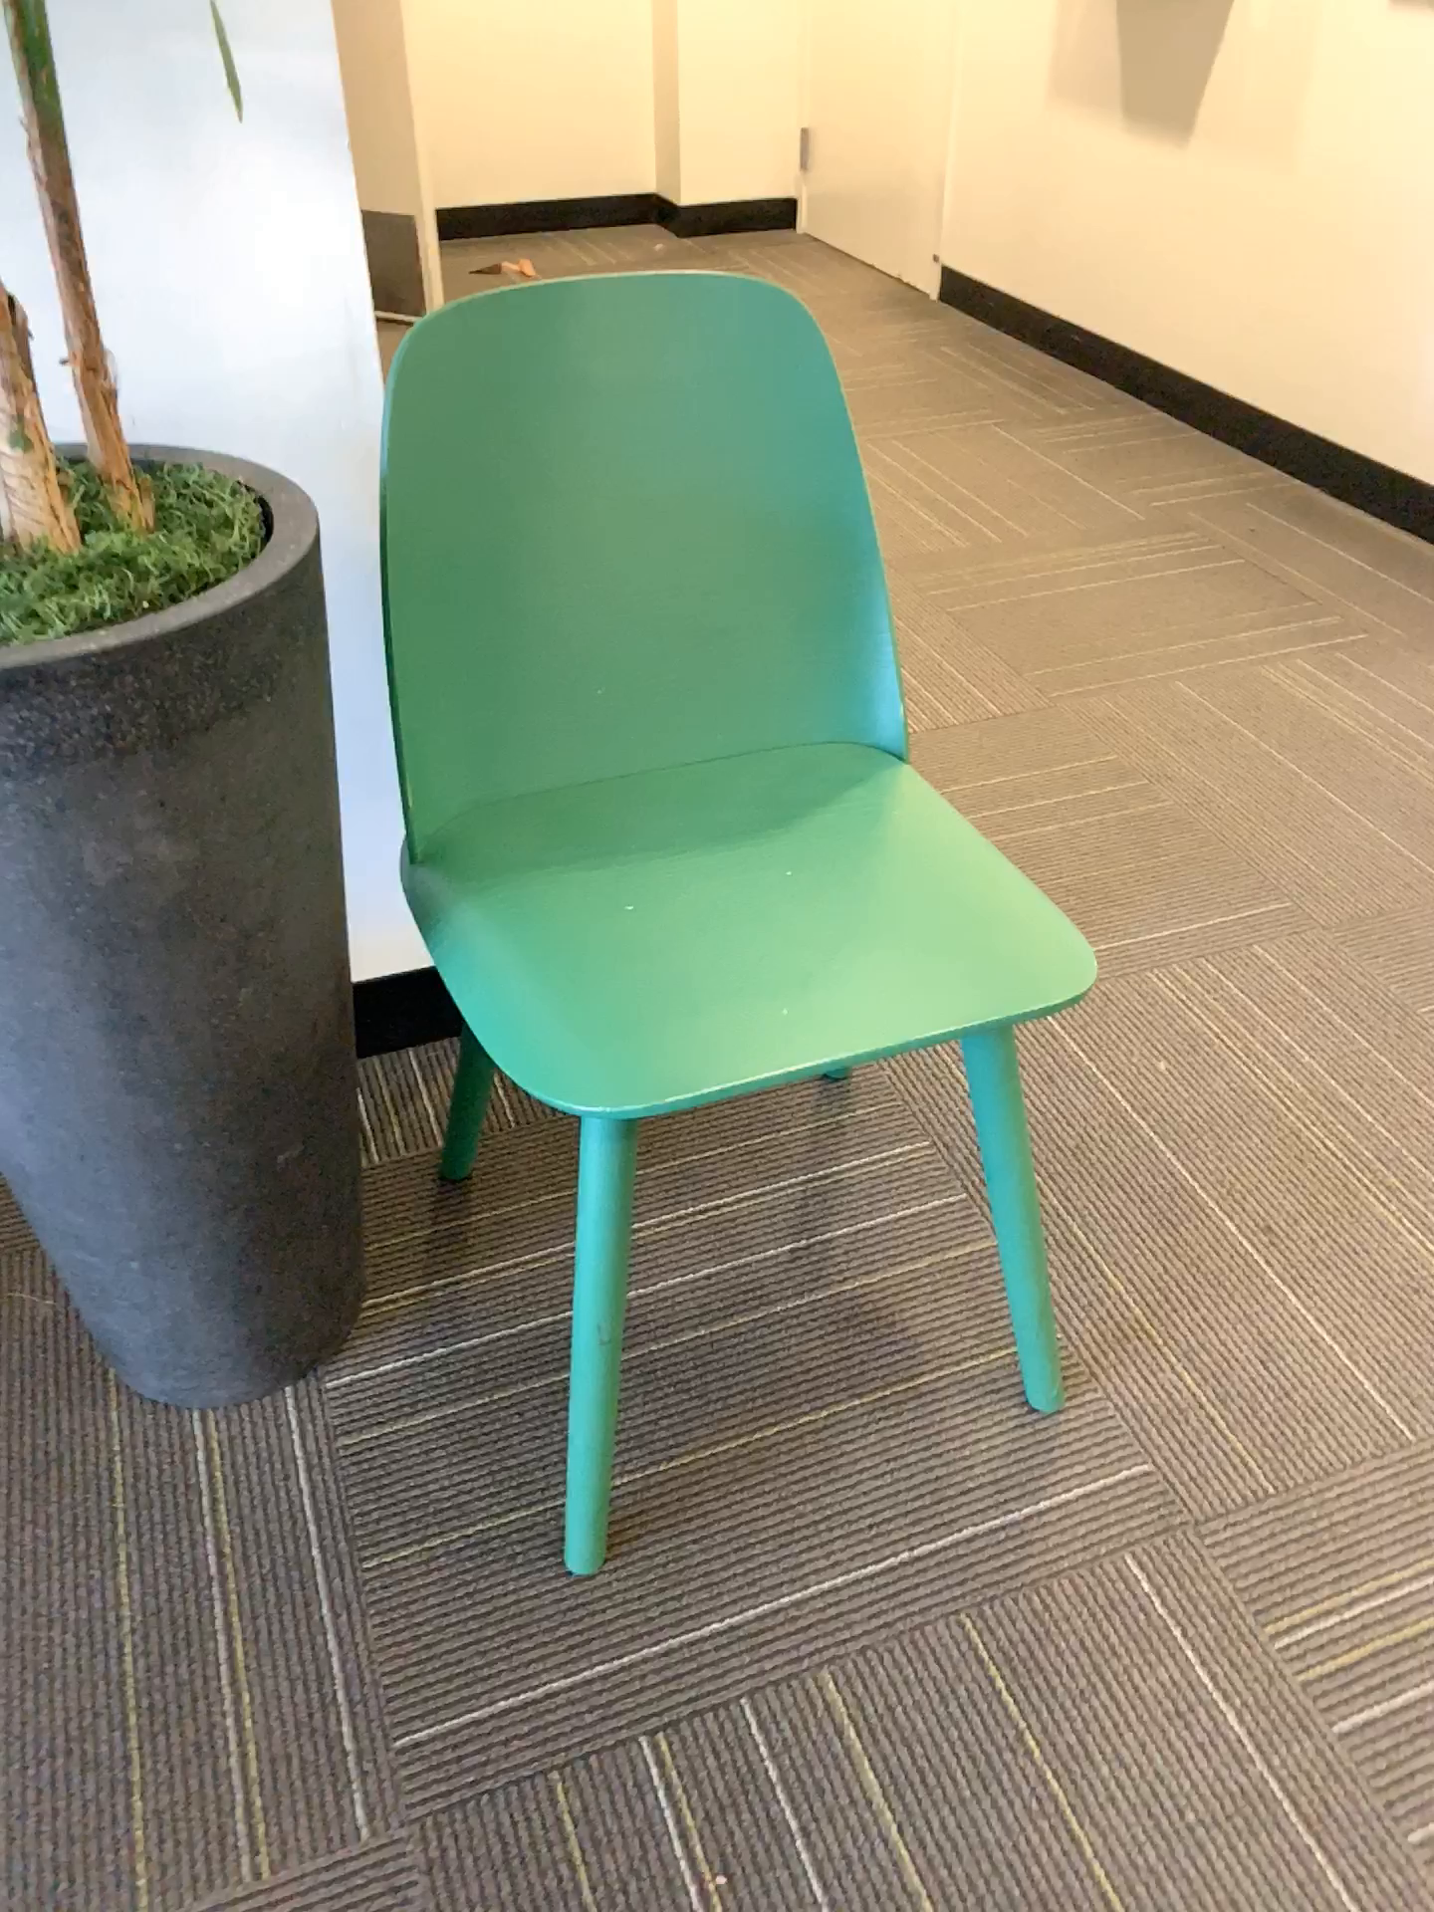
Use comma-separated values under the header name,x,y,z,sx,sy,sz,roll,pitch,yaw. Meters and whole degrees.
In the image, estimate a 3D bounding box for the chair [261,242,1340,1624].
name,x,y,z,sx,sy,sz,roll,pitch,yaw
chair,-0.031,-0.079,1.040,0.390,0.626,0.714,-12,38,-15
